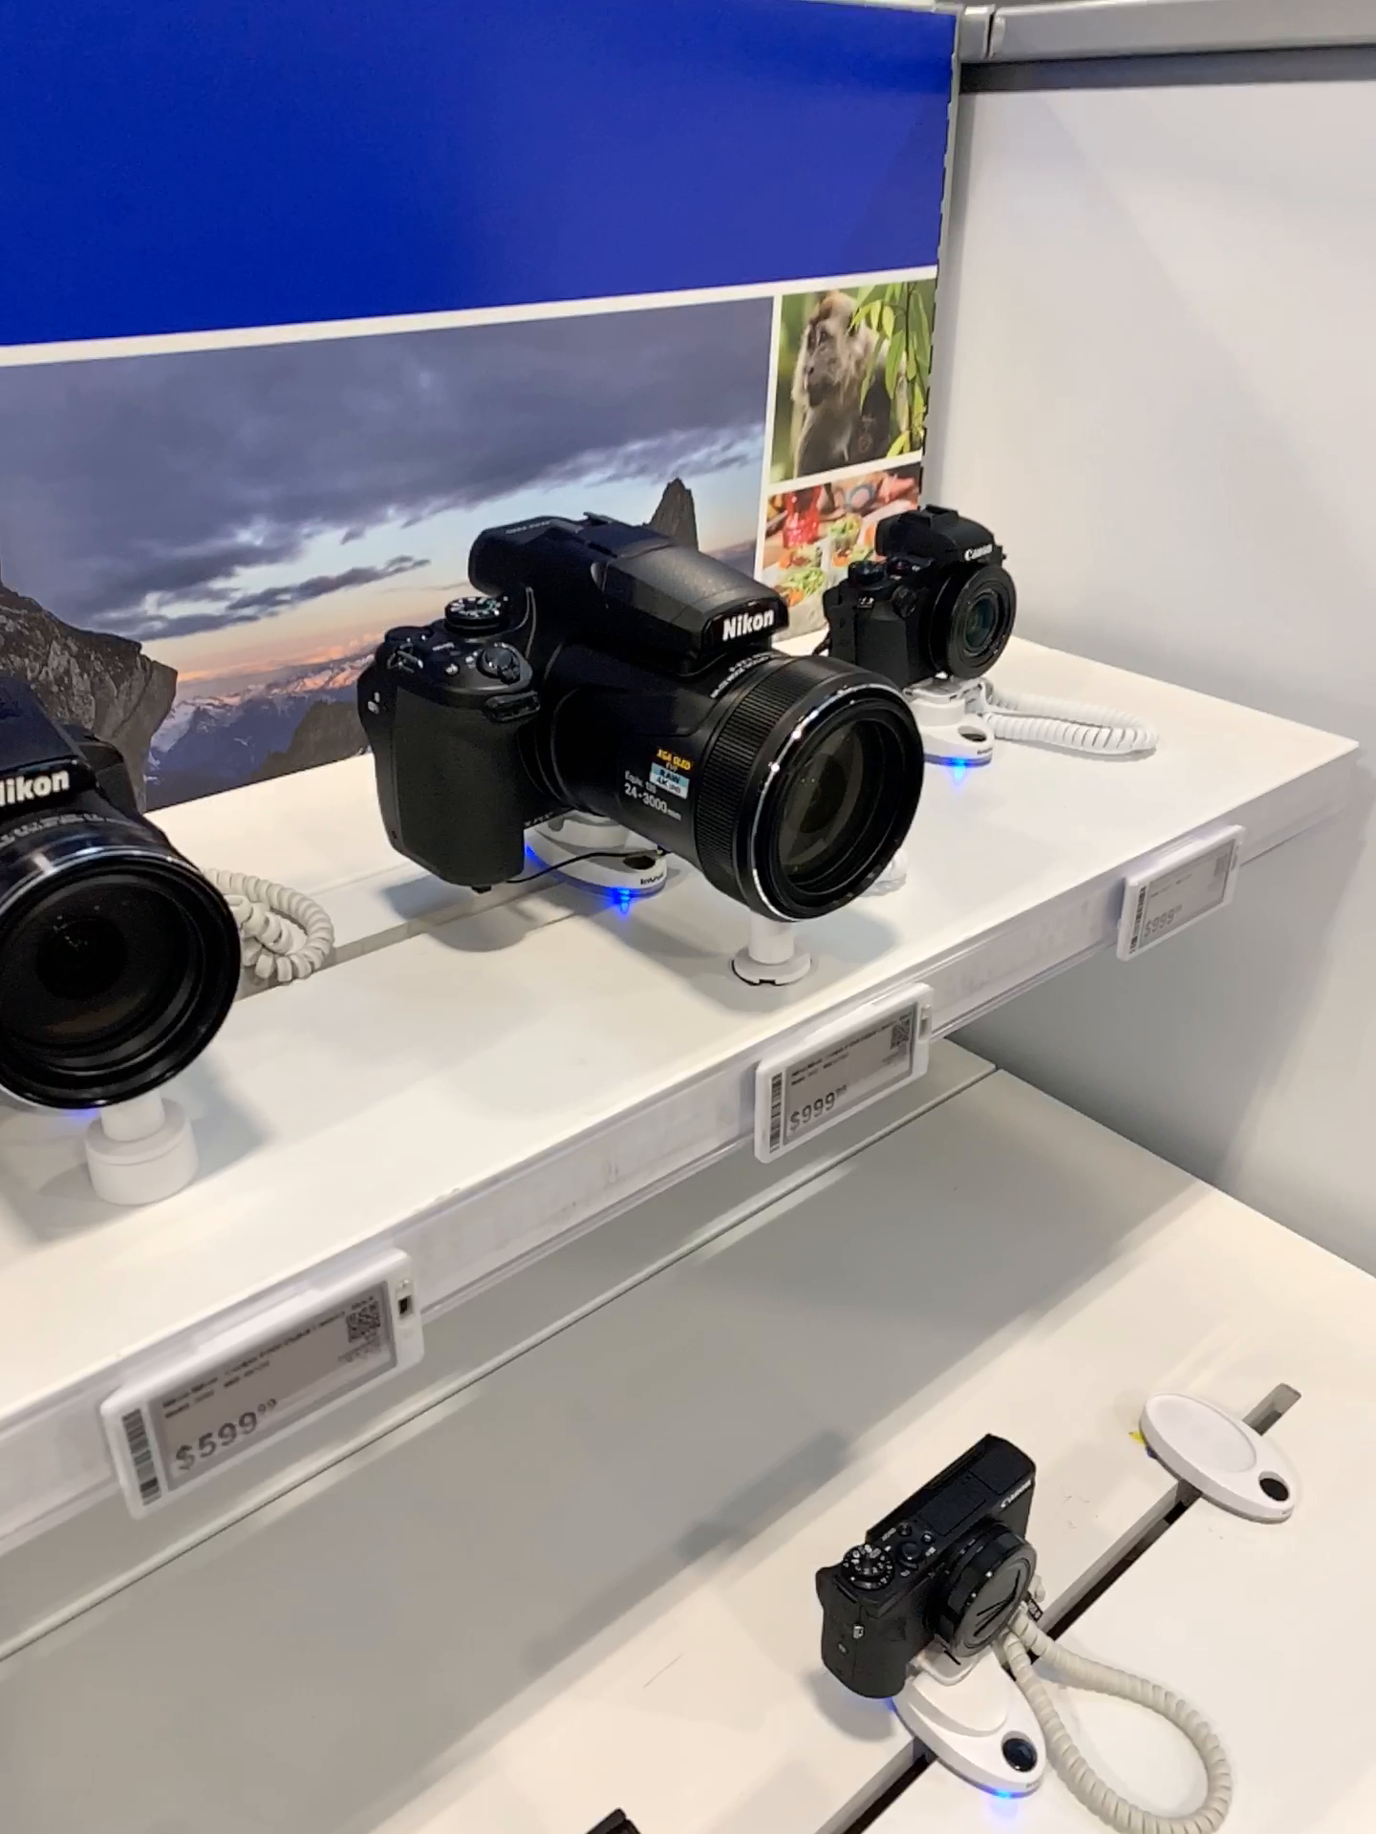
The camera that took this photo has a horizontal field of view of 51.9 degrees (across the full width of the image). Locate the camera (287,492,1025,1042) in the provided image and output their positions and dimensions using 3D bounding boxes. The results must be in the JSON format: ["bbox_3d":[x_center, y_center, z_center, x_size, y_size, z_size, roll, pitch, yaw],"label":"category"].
[{"bbox_3d":[-0.018,-0.075,0.534,0.160,0.109,0.221,-24,36,-36],"label":"camera"}]

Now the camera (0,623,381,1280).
[{"bbox_3d":[-0.206,-0.007,0.424,0.160,0.099,0.151,-23,36,-35],"label":"camera"}]

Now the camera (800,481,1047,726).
[{"bbox_3d":[0.120,-0.164,0.724,0.060,0.089,0.120,24,37,38],"label":"camera"}]
